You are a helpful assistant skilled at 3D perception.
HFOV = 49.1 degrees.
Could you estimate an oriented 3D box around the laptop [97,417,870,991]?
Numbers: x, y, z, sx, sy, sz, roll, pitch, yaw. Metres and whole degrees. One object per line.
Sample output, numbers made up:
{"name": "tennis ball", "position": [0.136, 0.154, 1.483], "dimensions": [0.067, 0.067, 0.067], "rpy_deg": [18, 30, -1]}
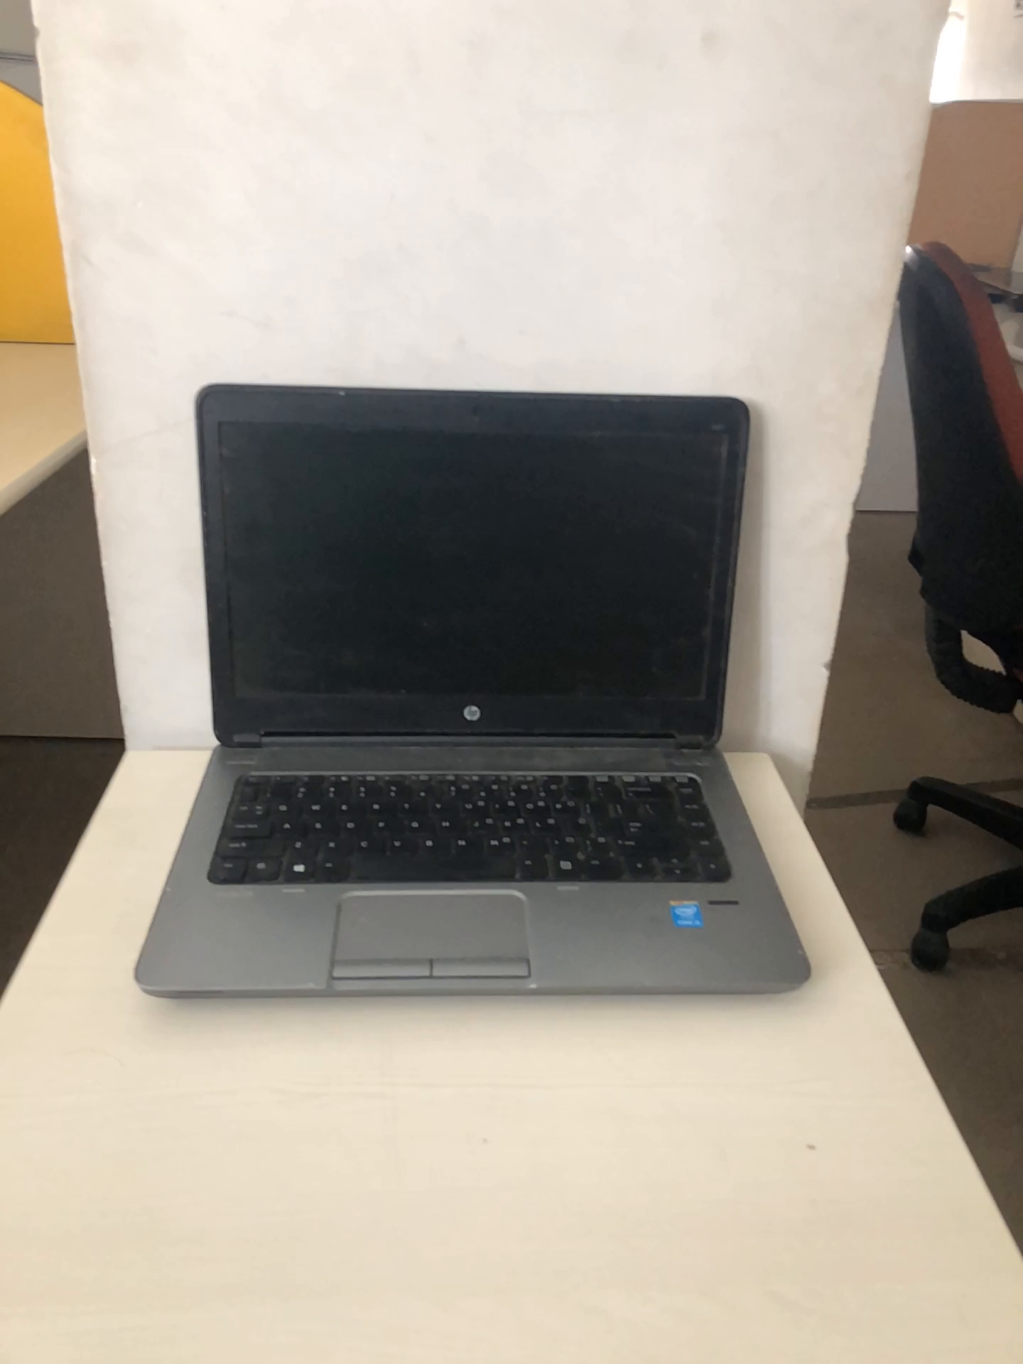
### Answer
{"name": "laptop", "position": [-0.013, -0.002, 0.592], "dimensions": [0.304, 0.209, 0.238], "rpy_deg": [1, 27, -3]}
